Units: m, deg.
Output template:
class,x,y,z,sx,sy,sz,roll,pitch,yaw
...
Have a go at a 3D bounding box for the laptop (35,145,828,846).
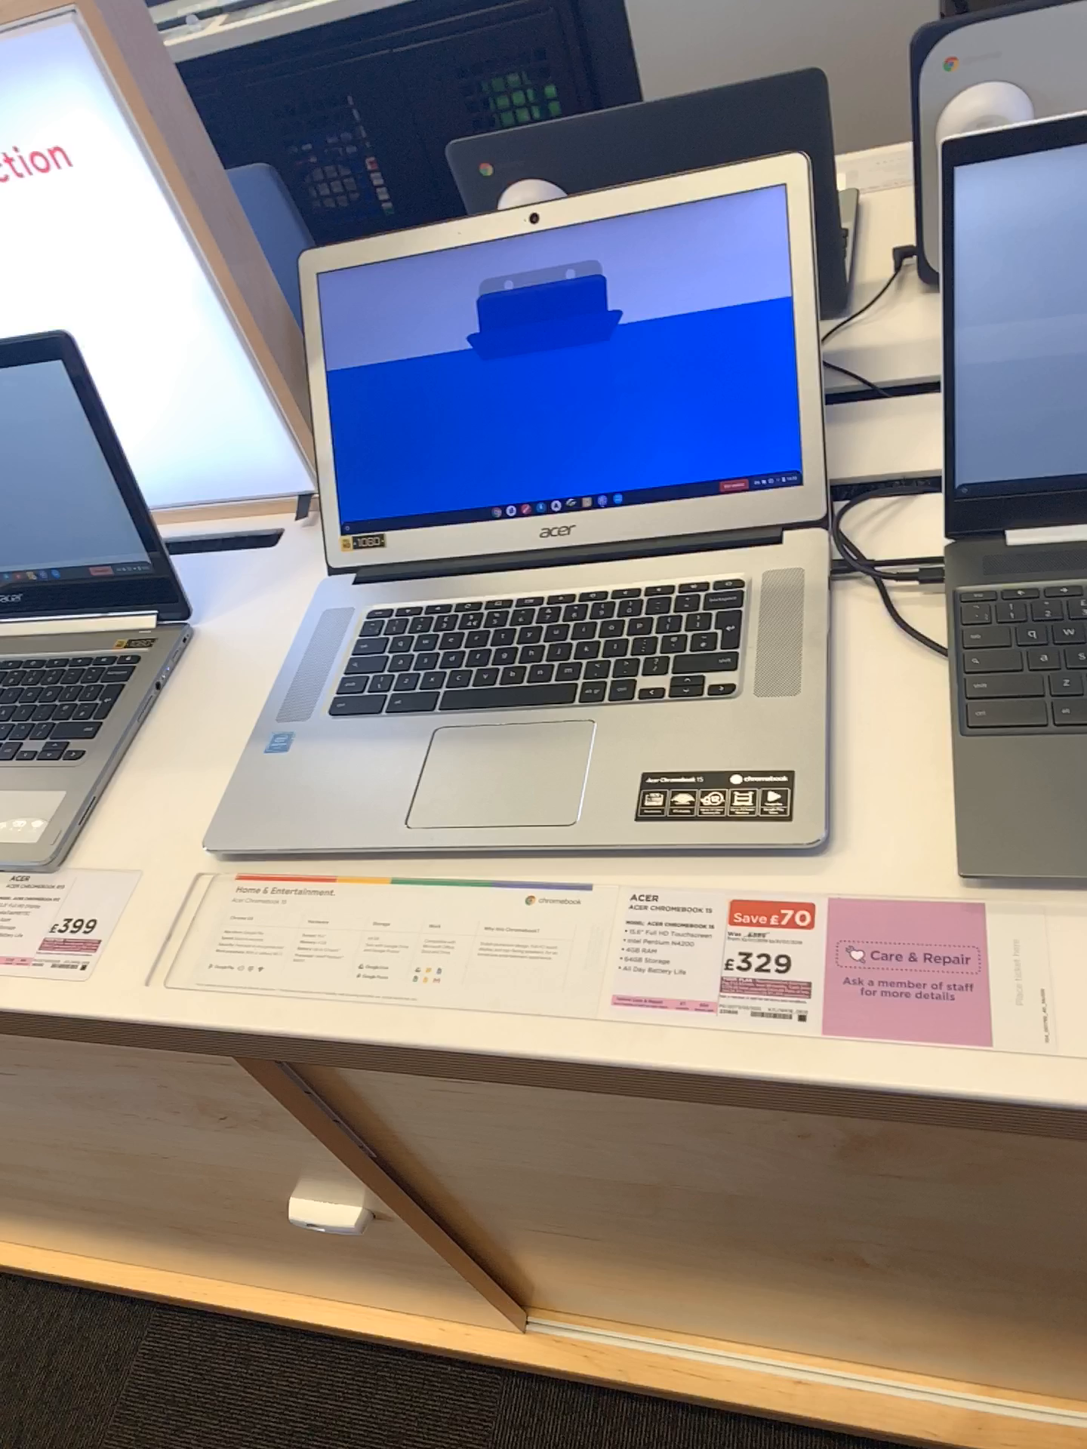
class,x,y,z,sx,sy,sz,roll,pitch,yaw
laptop,-0.022,-0.153,0.710,0.375,0.168,0.433,-3,48,18
